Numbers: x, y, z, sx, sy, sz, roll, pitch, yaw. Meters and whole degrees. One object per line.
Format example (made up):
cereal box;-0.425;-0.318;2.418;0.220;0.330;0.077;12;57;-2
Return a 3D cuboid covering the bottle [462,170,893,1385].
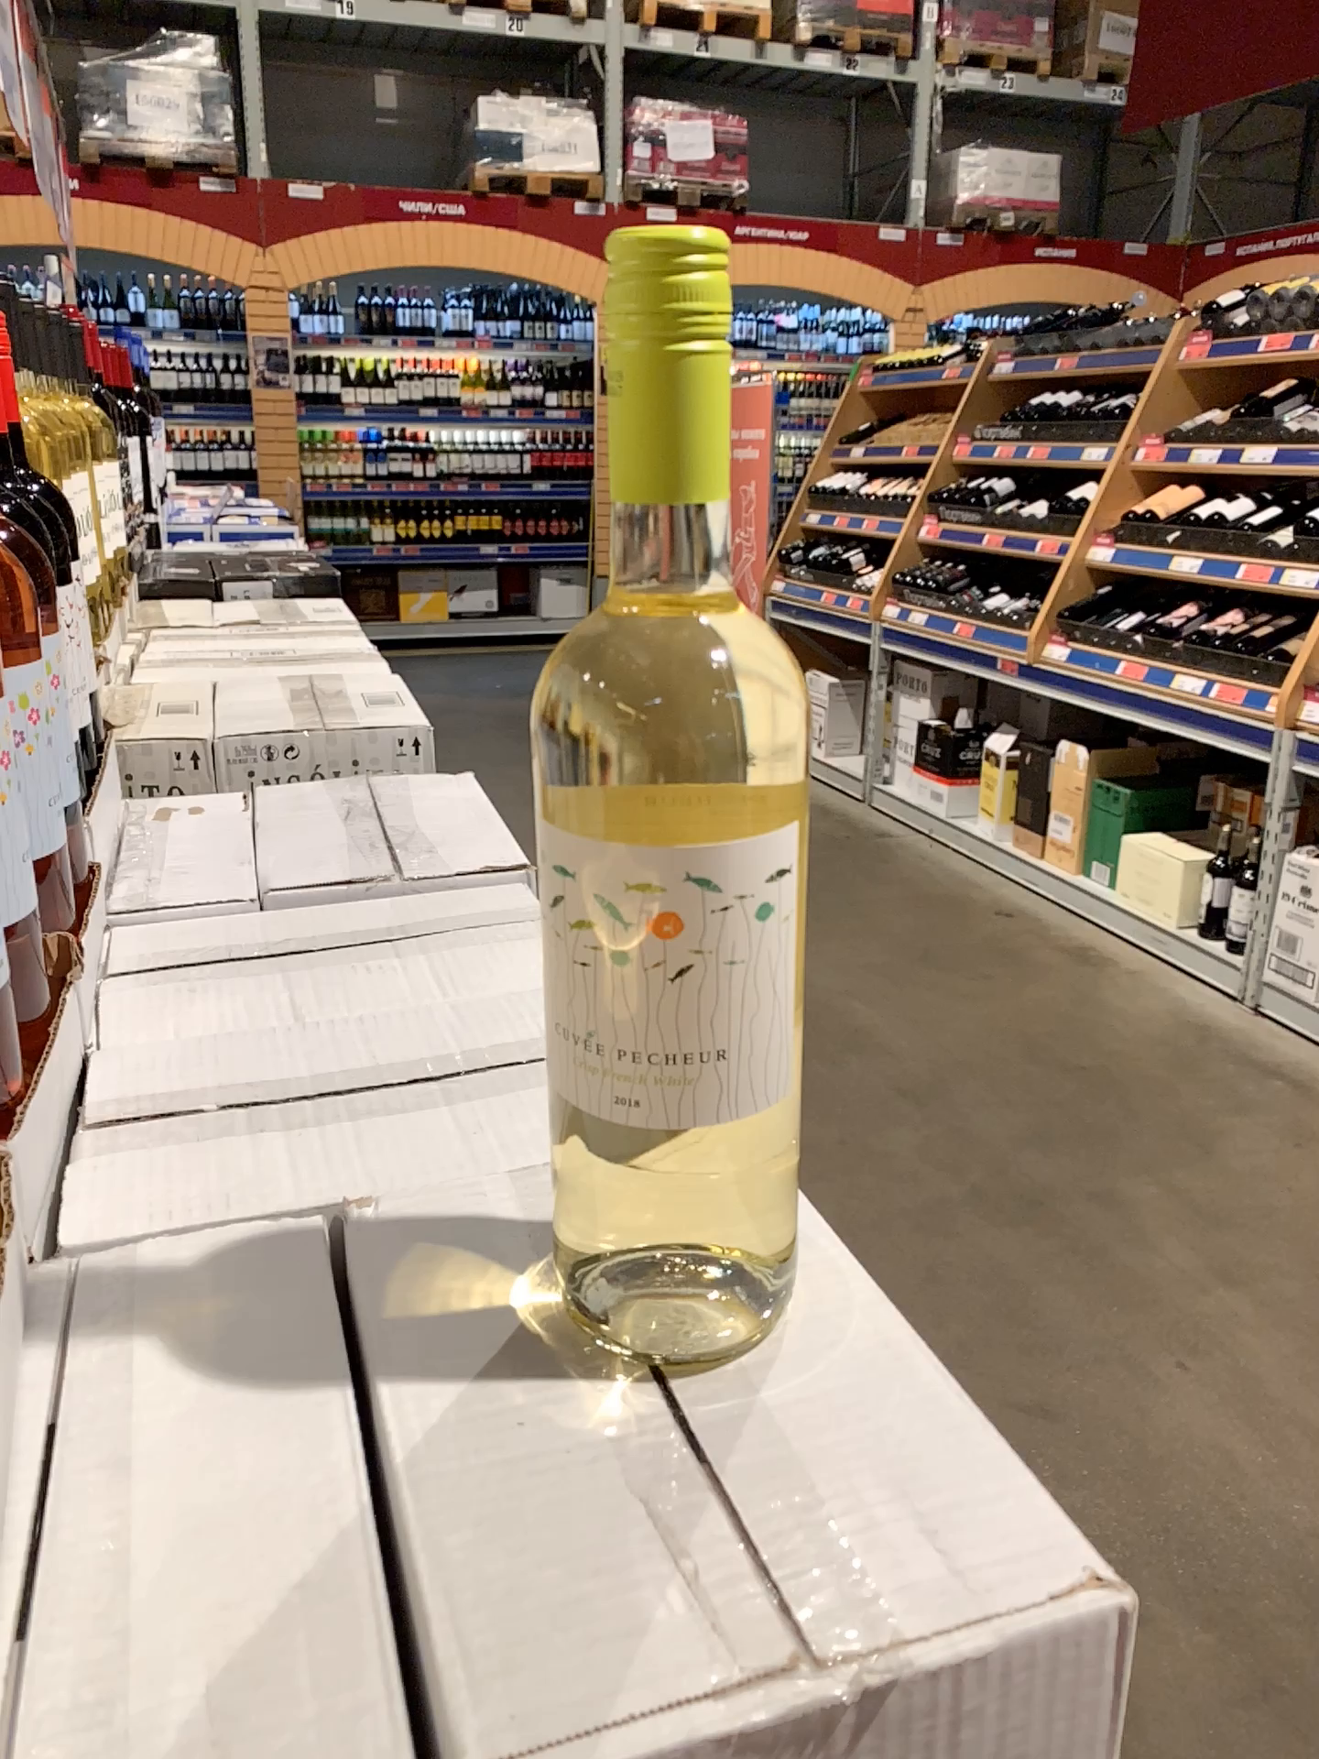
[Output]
bottle;0.007;-0.020;0.371;0.090;0.299;0.090;1;19;0
